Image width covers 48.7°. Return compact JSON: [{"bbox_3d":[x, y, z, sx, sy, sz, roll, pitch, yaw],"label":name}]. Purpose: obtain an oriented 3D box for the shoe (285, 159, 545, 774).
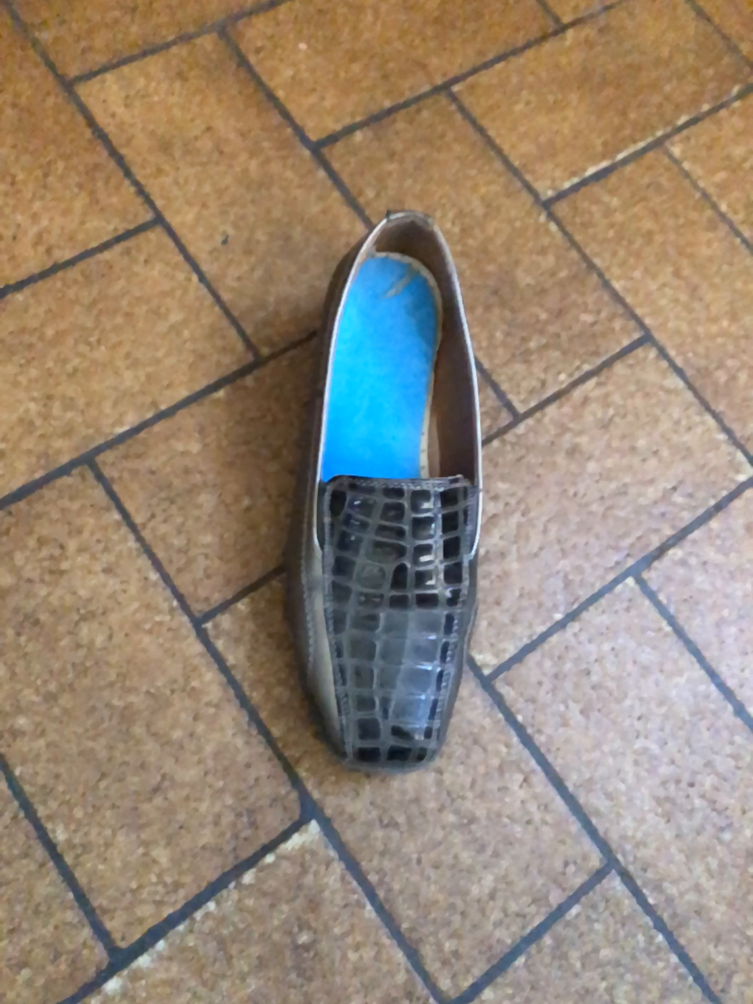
[{"bbox_3d":[0.008,-0.014,0.379,0.090,0.090,0.260,2,72,-9],"label":"shoe"}]
